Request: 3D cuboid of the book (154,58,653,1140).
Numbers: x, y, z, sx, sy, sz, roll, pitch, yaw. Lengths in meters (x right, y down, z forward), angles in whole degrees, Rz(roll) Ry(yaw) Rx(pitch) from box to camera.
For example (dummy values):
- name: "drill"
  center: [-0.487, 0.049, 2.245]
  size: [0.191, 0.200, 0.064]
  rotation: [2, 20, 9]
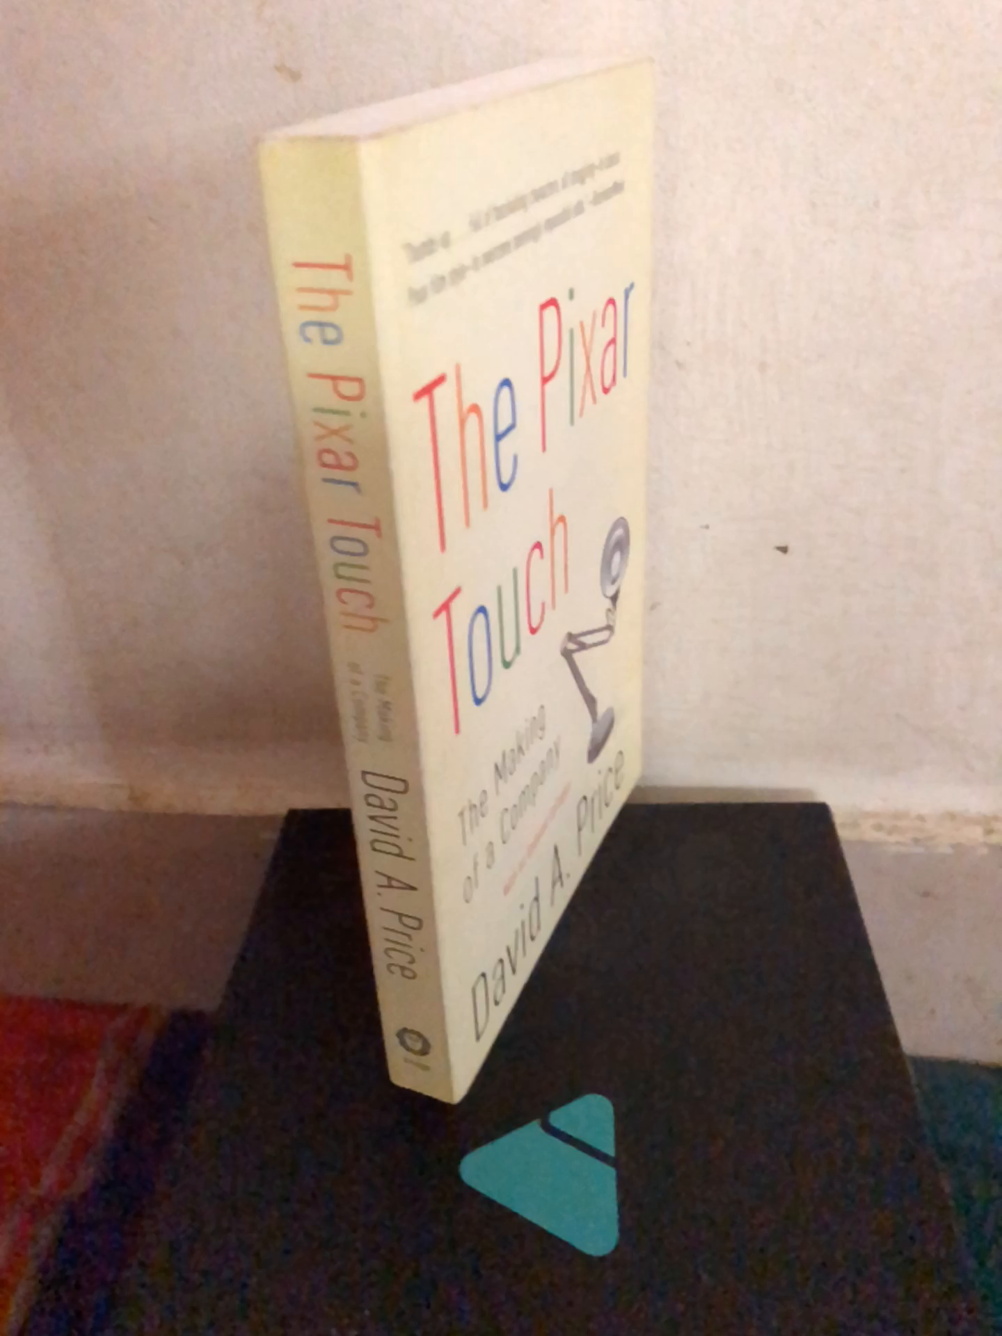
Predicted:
- name: "book"
  center: [-0.003, -0.020, 0.253]
  size: [0.030, 0.199, 0.141]
  rotation: [10, 33, 20]
